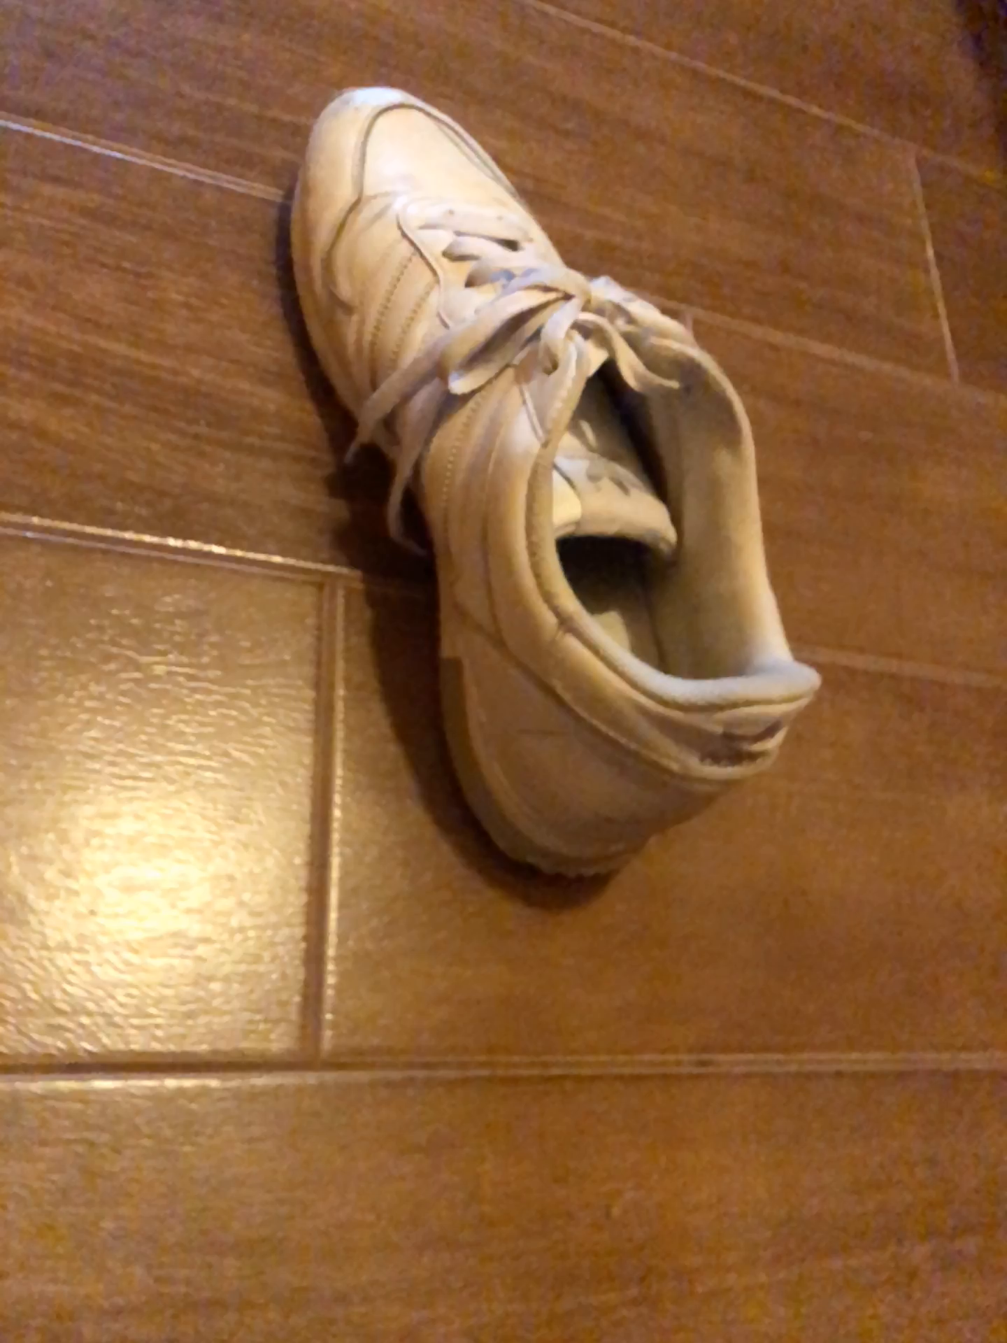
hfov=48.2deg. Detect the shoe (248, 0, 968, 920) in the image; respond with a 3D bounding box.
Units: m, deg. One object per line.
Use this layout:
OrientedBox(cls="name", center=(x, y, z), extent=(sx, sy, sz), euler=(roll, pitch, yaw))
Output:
OrientedBox(cls="shoe", center=(0.016, -0.091, 0.388), extent=(0.120, 0.119, 0.311), euler=(-8, 73, -28))
